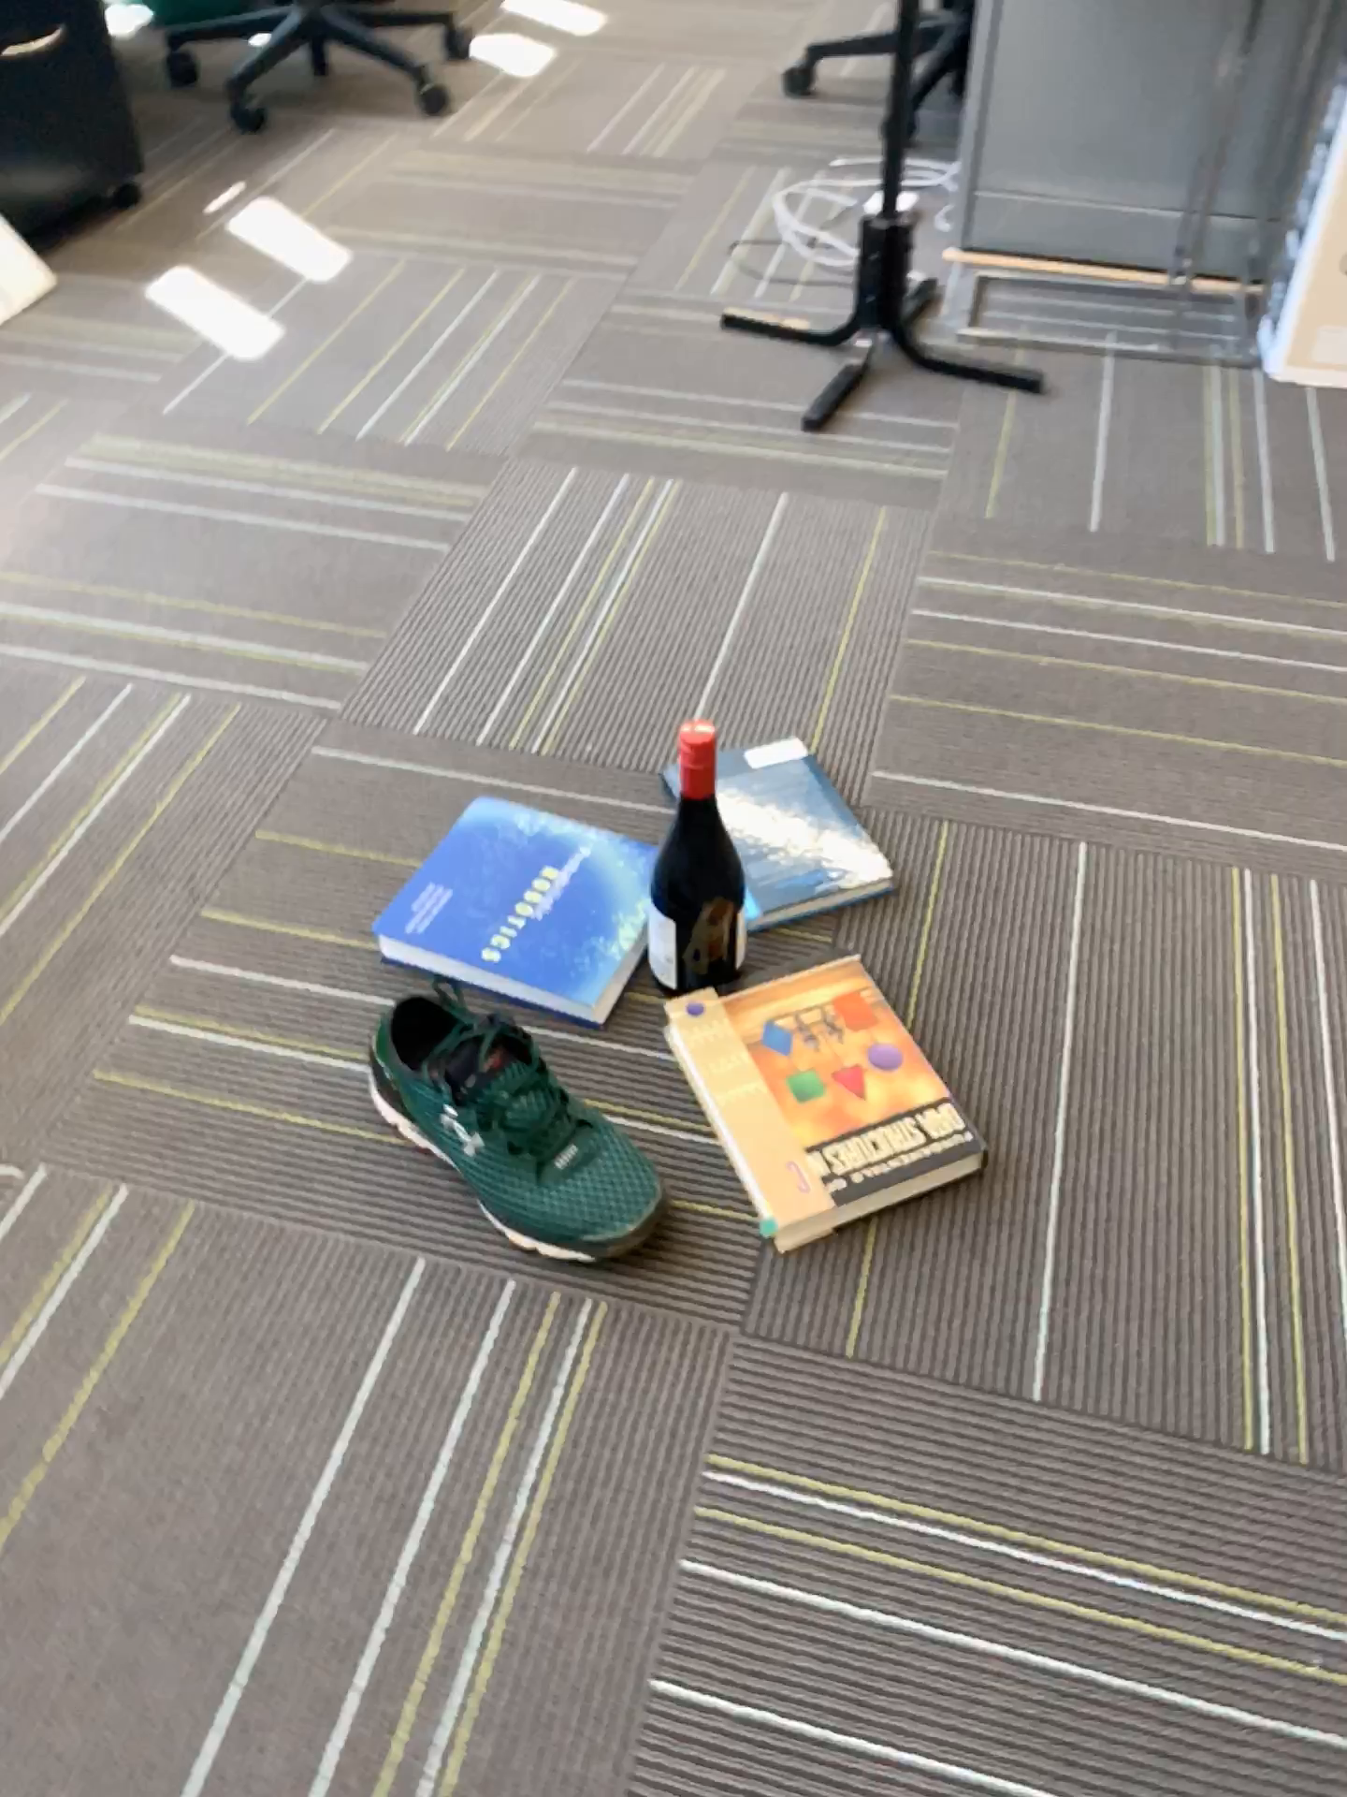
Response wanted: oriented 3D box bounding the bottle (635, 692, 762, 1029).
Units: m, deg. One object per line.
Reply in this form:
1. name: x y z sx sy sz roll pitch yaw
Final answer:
1. bottle: 0.019 -0.024 1.184 0.080 0.298 0.090 -9 47 -8
